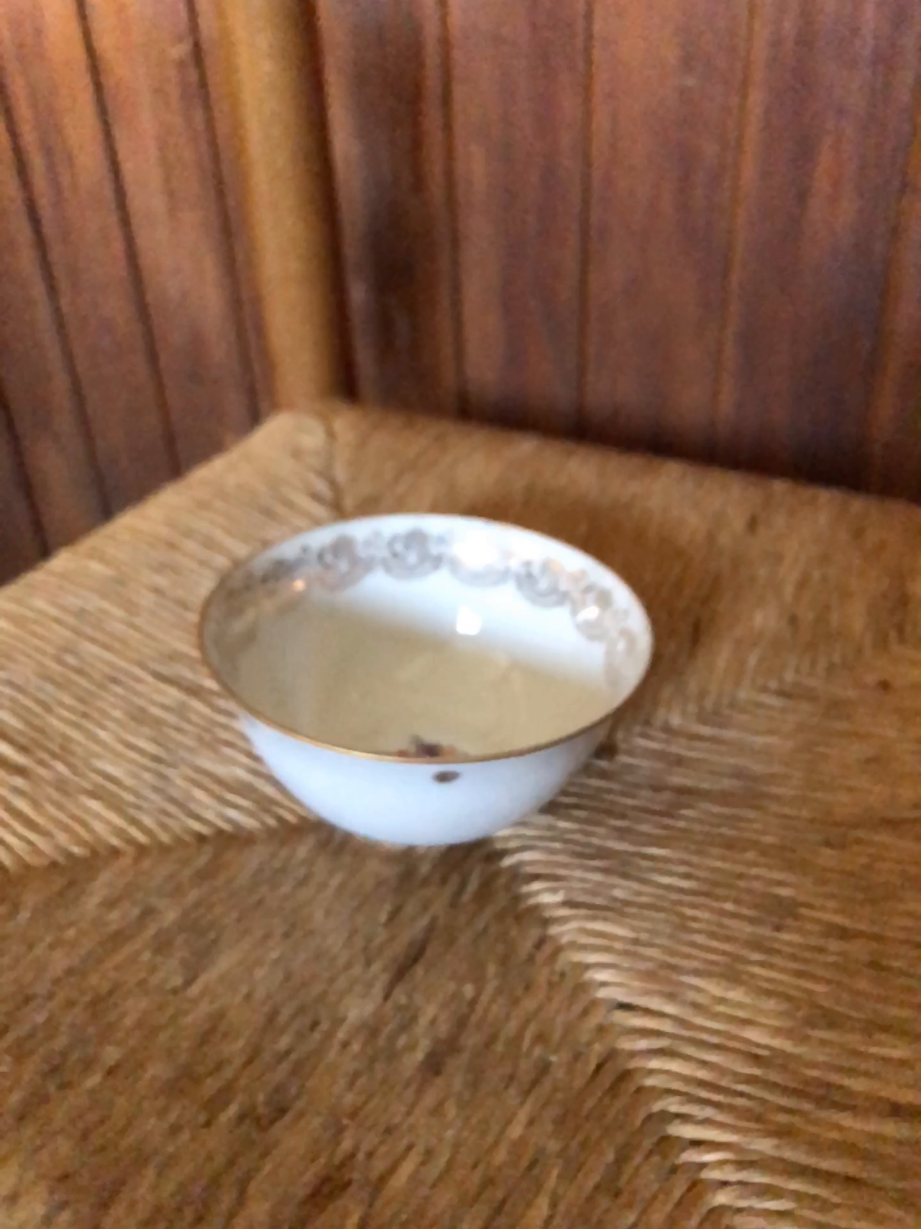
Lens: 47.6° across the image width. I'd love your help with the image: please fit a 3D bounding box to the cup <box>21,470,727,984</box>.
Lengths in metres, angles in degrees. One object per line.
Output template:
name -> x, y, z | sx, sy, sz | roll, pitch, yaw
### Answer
cup -> -0.014, 0.013, 0.285 | 0.130, 0.040, 0.141 | 0, 29, 0
